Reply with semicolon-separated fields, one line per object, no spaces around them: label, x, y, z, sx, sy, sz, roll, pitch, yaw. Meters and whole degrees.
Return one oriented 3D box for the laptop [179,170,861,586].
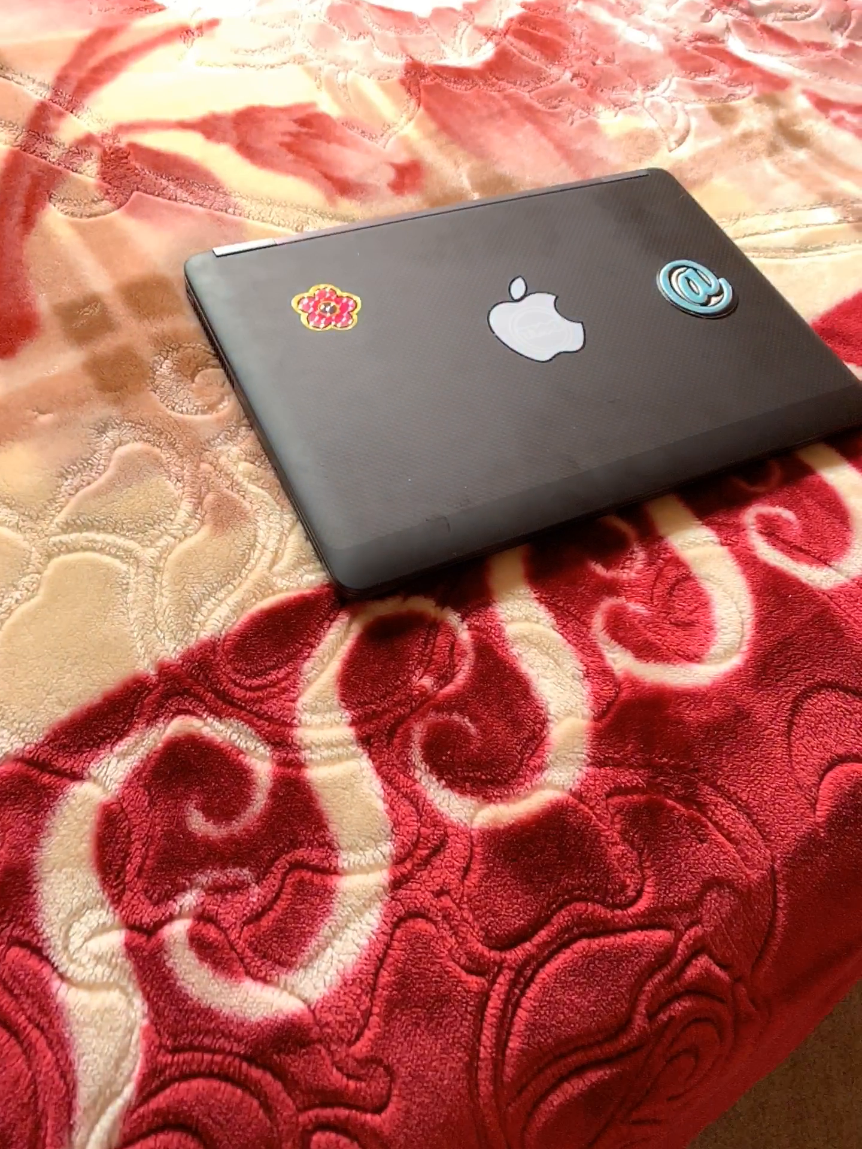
laptop;0.053;-0.122;0.450;0.300;0.001;0.209;-19;63;-20
